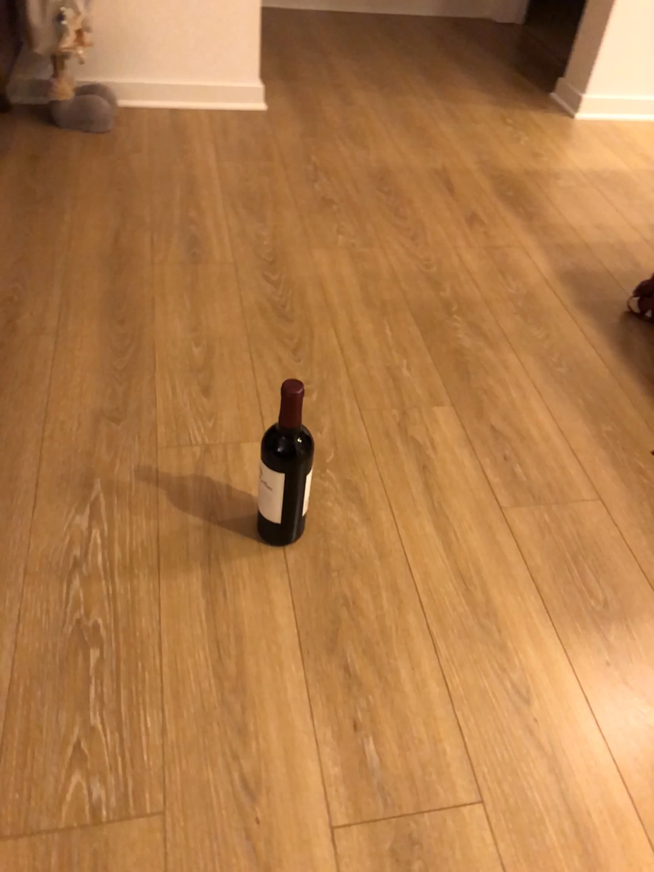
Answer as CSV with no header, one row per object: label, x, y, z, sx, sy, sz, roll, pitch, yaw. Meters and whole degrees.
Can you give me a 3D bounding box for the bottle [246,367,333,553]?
bottle,-0.058,0.041,1.045,0.100,0.258,0.111,6,43,-1
